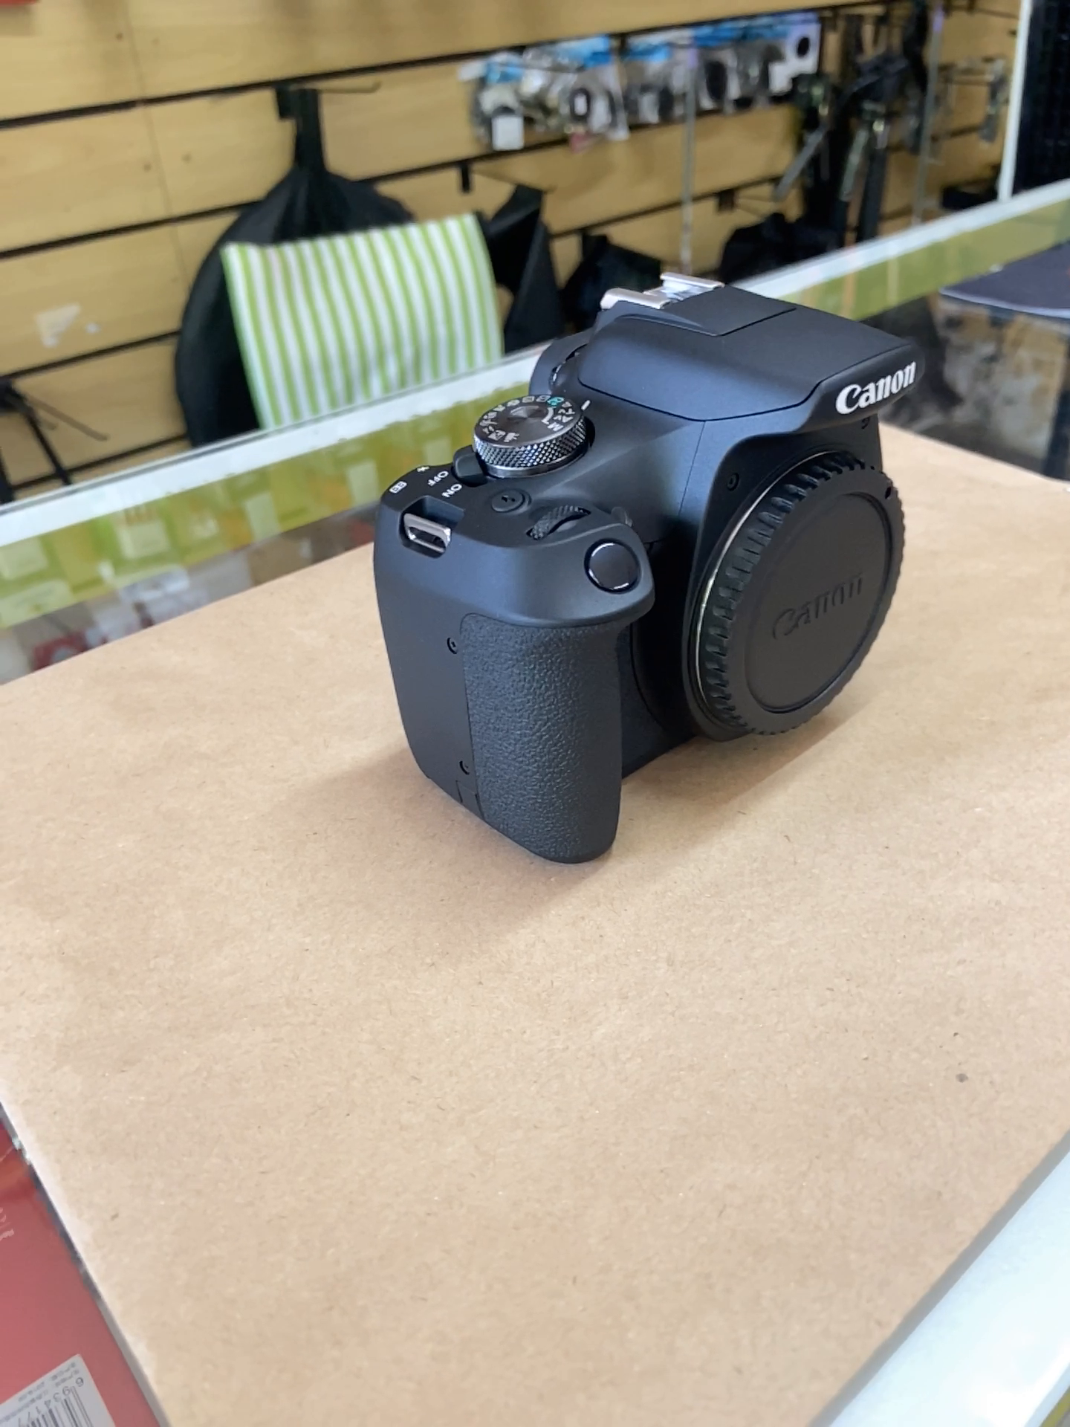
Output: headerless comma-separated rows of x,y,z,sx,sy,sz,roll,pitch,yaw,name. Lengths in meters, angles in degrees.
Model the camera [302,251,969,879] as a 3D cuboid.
0.027,-0.044,0.266,0.131,0.092,0.071,-28,41,-30,camera
